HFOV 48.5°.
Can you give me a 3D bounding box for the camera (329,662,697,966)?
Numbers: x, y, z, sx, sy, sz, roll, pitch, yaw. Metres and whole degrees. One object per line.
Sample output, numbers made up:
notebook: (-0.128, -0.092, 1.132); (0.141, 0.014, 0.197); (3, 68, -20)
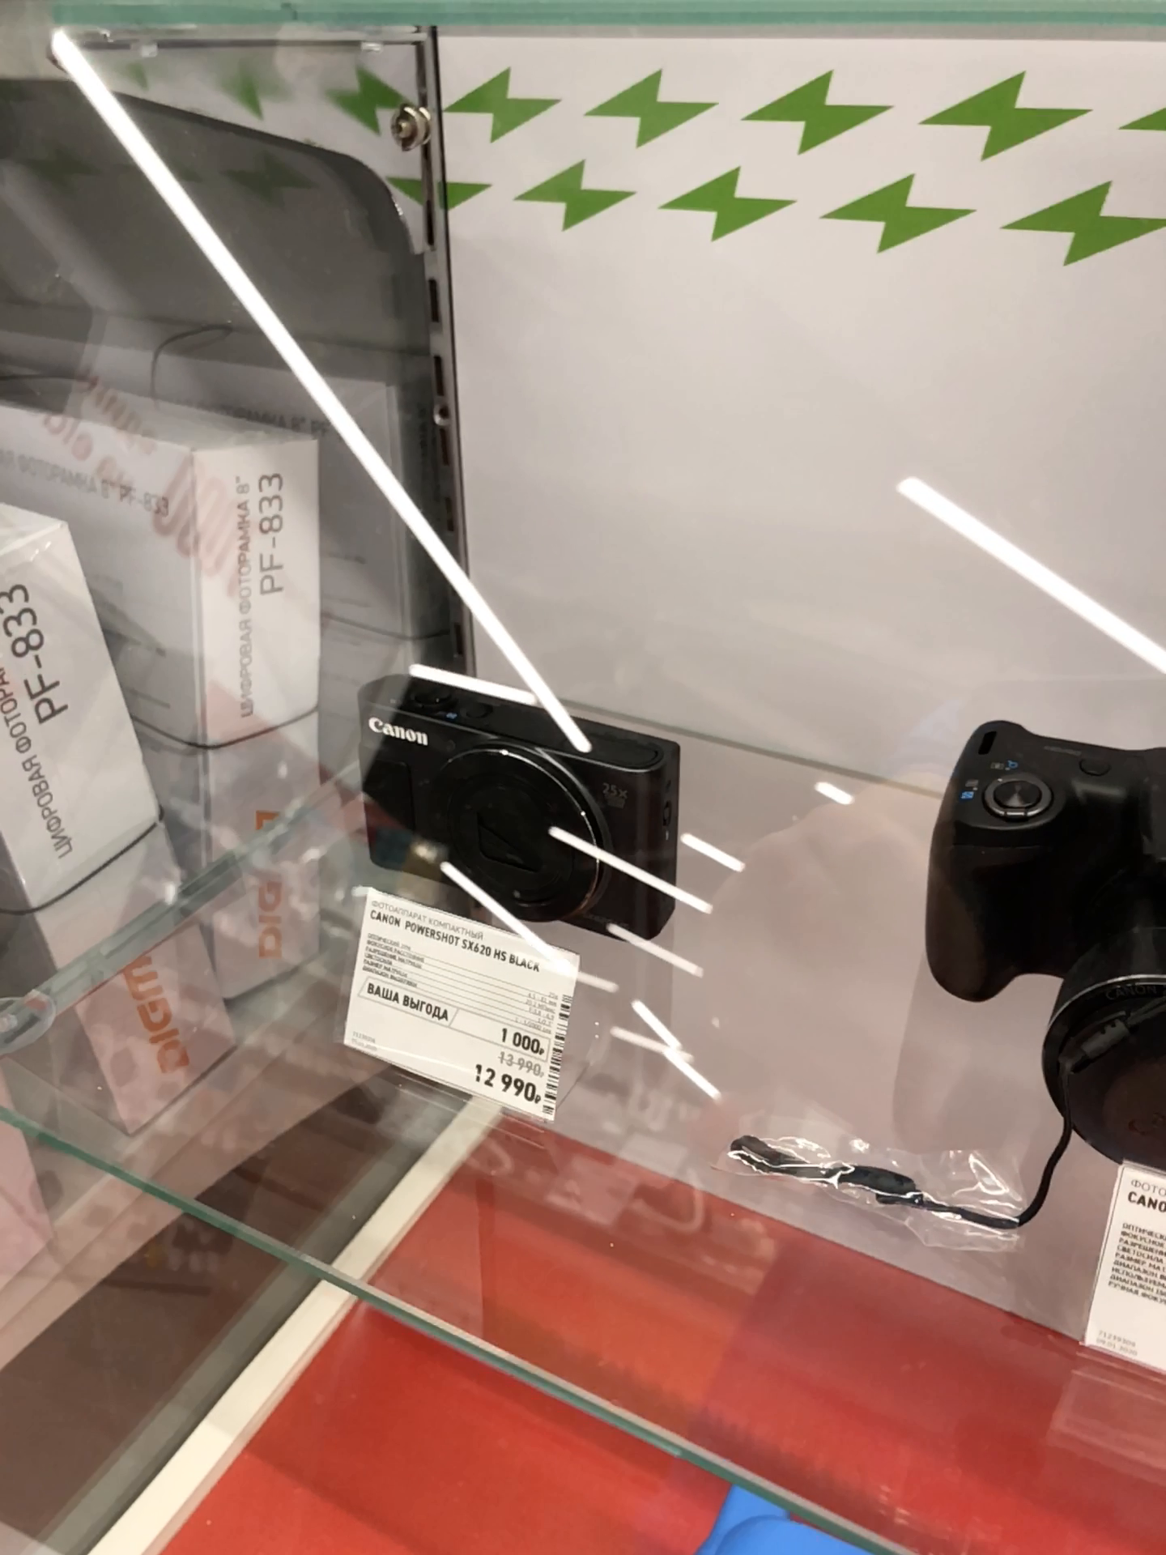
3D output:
camera: (-0.020, 0.008, 0.362); (0.098, 0.055, 0.030); (15, 33, 25)
